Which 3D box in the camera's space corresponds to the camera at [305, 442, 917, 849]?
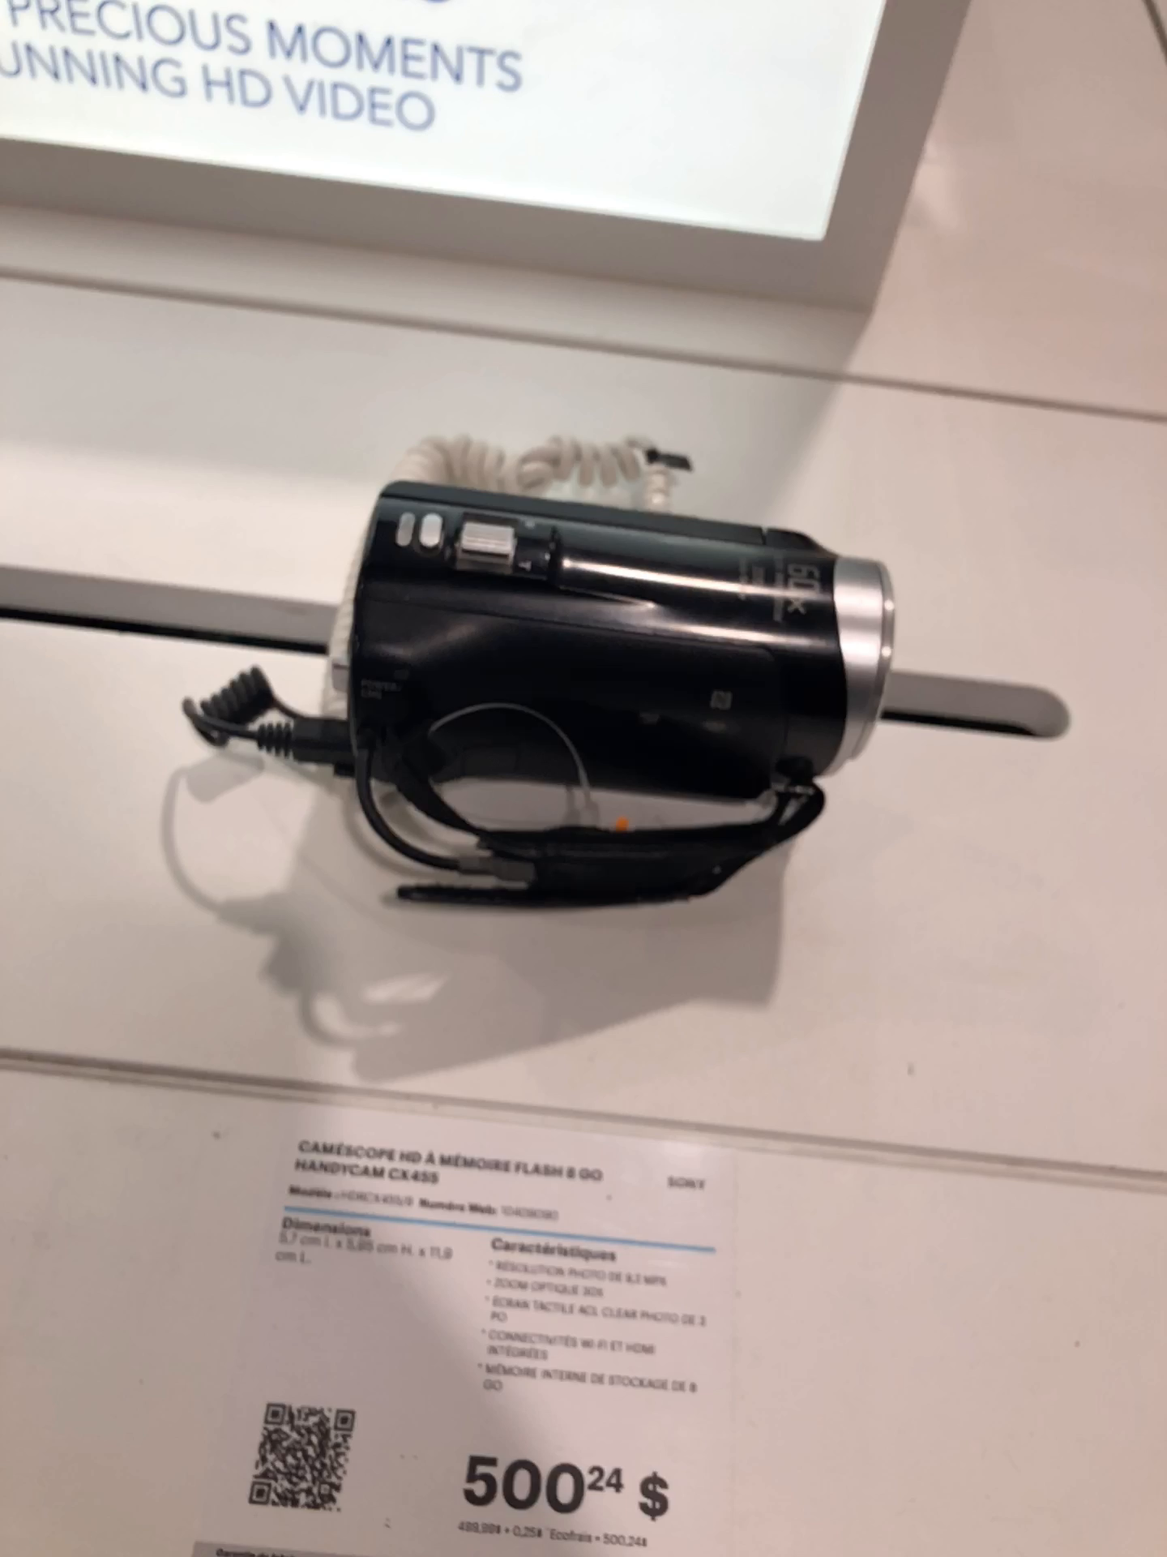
[{"bbox_3d":[0.005,-0.029,0.298,0.121,0.058,0.057,5,55,-2],"label":"camera"}]
